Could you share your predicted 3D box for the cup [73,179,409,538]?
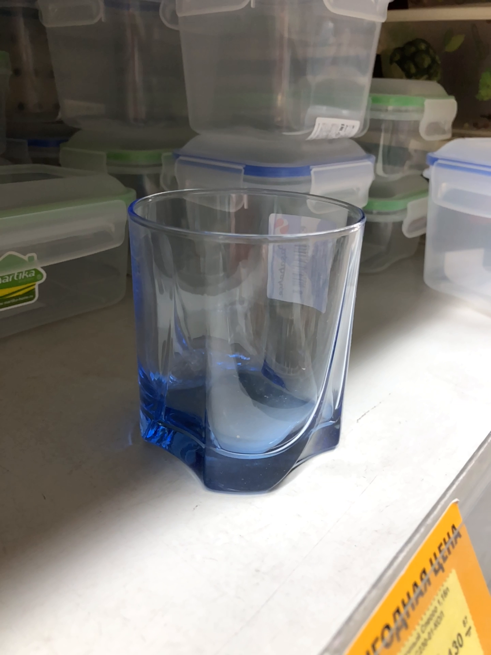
[{"bbox_3d":[-0.002,0.000,0.211,0.085,0.095,0.083,0,23,0],"label":"cup"}]
